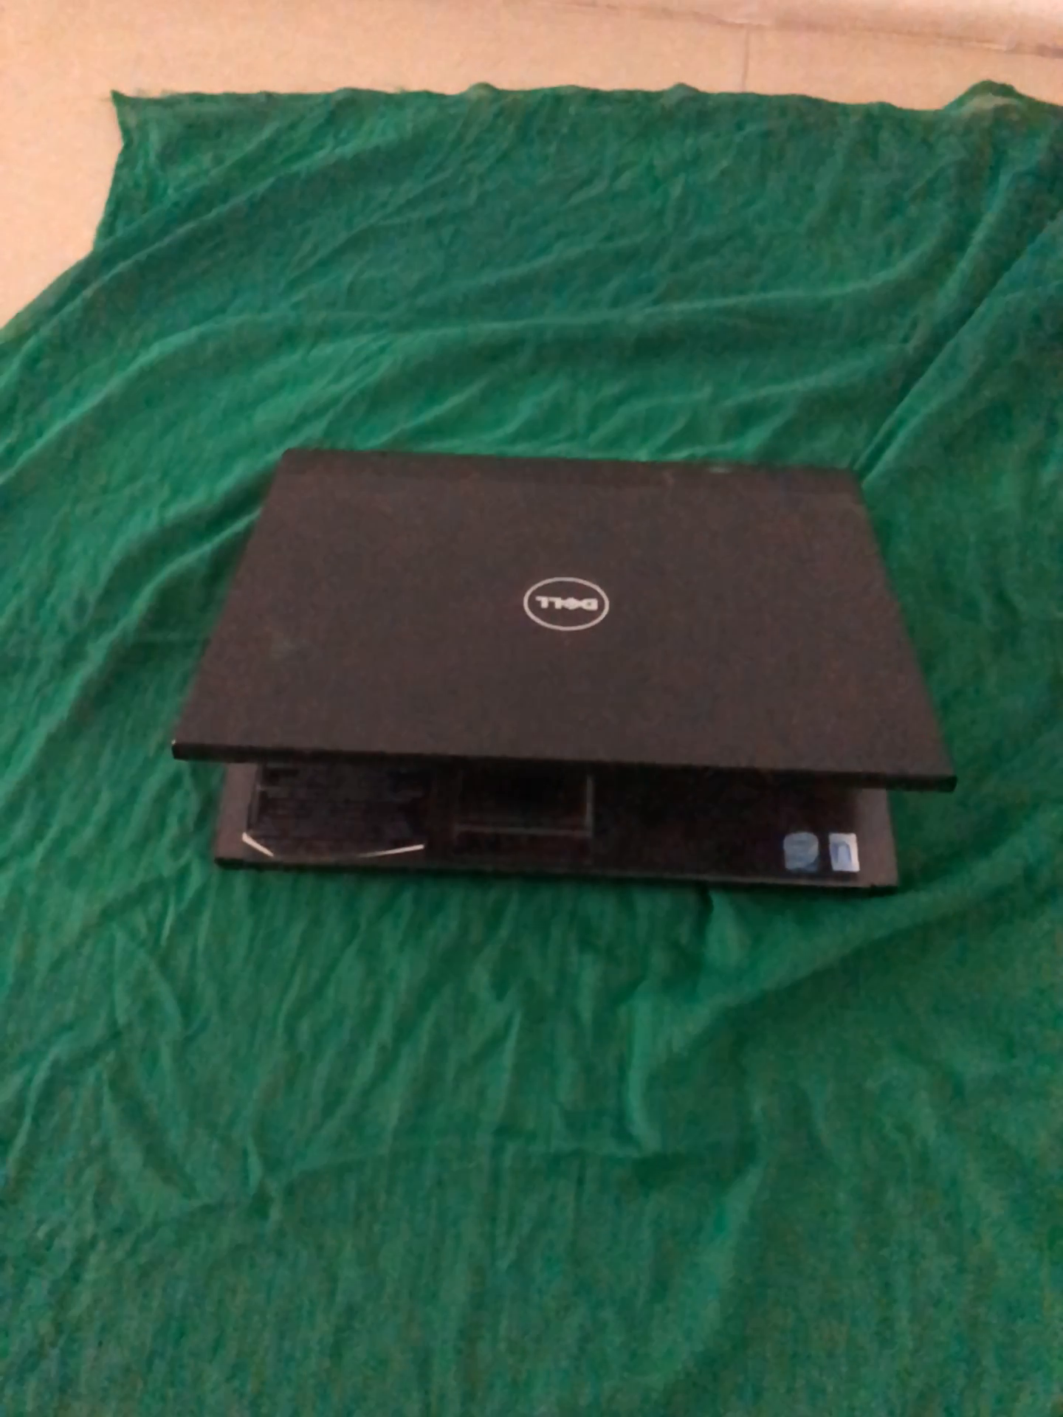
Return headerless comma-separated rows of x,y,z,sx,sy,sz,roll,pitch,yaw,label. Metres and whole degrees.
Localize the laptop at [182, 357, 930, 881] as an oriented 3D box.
0.016,-0.047,0.556,0.306,0.066,0.227,2,65,1,laptop
